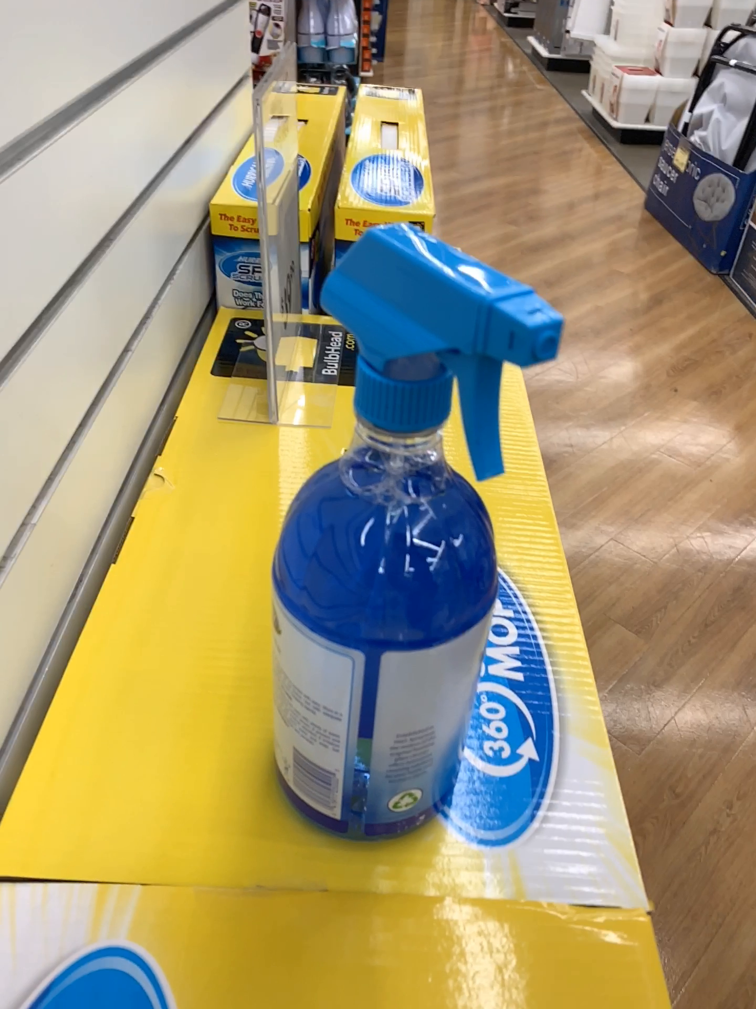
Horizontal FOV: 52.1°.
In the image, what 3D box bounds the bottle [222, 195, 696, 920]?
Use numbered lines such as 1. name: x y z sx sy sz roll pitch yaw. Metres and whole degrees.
1. bottle: 0.008 0.029 0.285 0.090 0.239 0.110 -11 41 -18
